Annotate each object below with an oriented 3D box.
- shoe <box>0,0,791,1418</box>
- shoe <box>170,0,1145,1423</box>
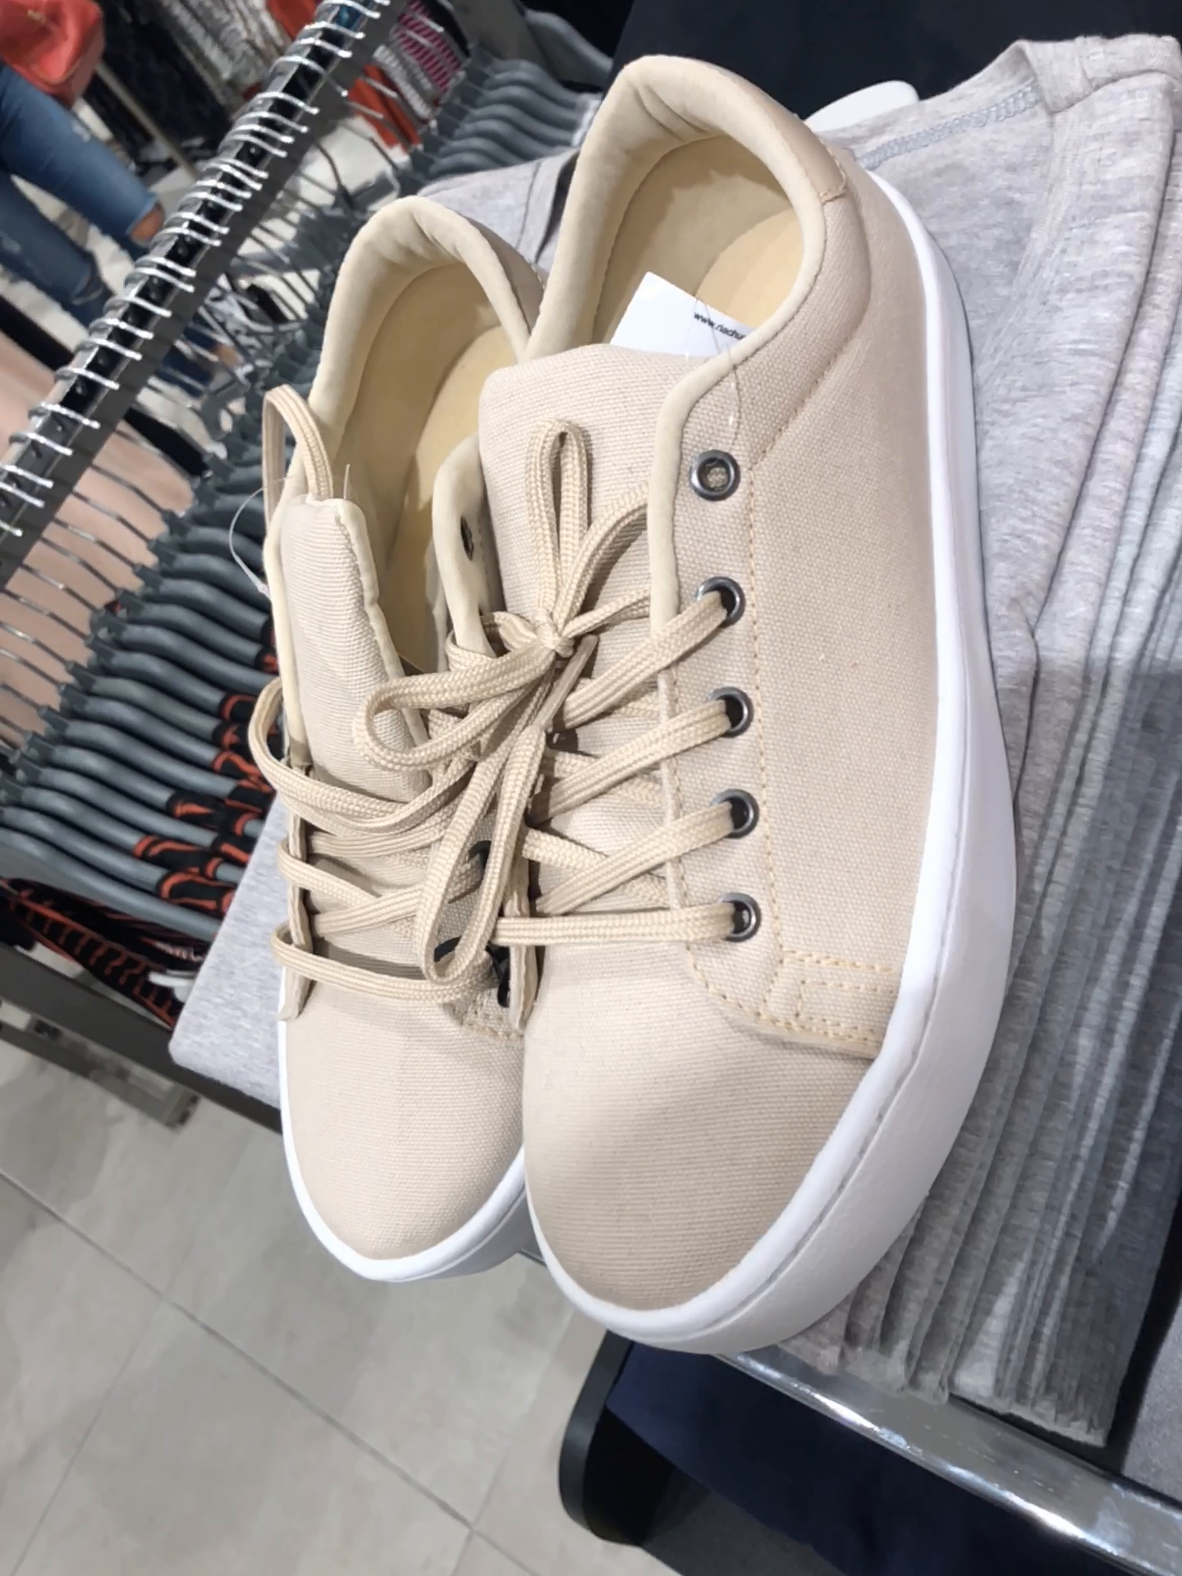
[{"bbox_3d":[-0.035,-0.022,0.312,0.100,0.109,0.280,4,77,27],"label":"shoe"},{"bbox_3d":[0.038,-0.040,0.281,0.110,0.109,0.291,-2,63,35],"label":"shoe"}]
